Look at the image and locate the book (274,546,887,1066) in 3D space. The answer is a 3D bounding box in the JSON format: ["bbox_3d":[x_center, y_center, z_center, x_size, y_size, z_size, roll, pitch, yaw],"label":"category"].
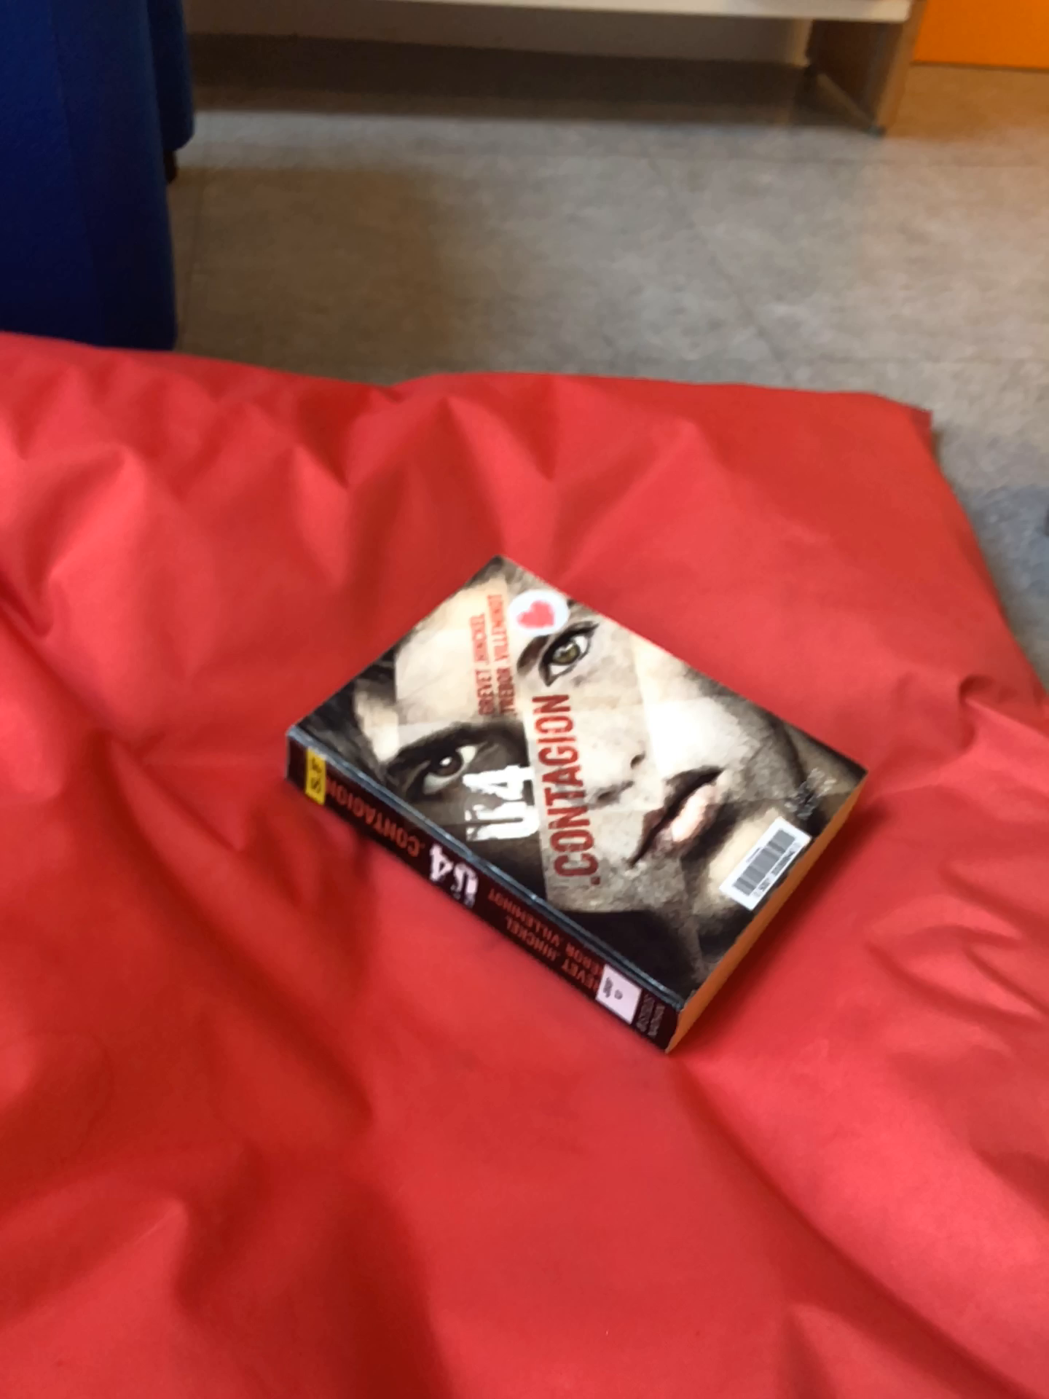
[{"bbox_3d":[0.025,0.033,0.544,0.225,0.038,0.167,31,56,24],"label":"book"}]
